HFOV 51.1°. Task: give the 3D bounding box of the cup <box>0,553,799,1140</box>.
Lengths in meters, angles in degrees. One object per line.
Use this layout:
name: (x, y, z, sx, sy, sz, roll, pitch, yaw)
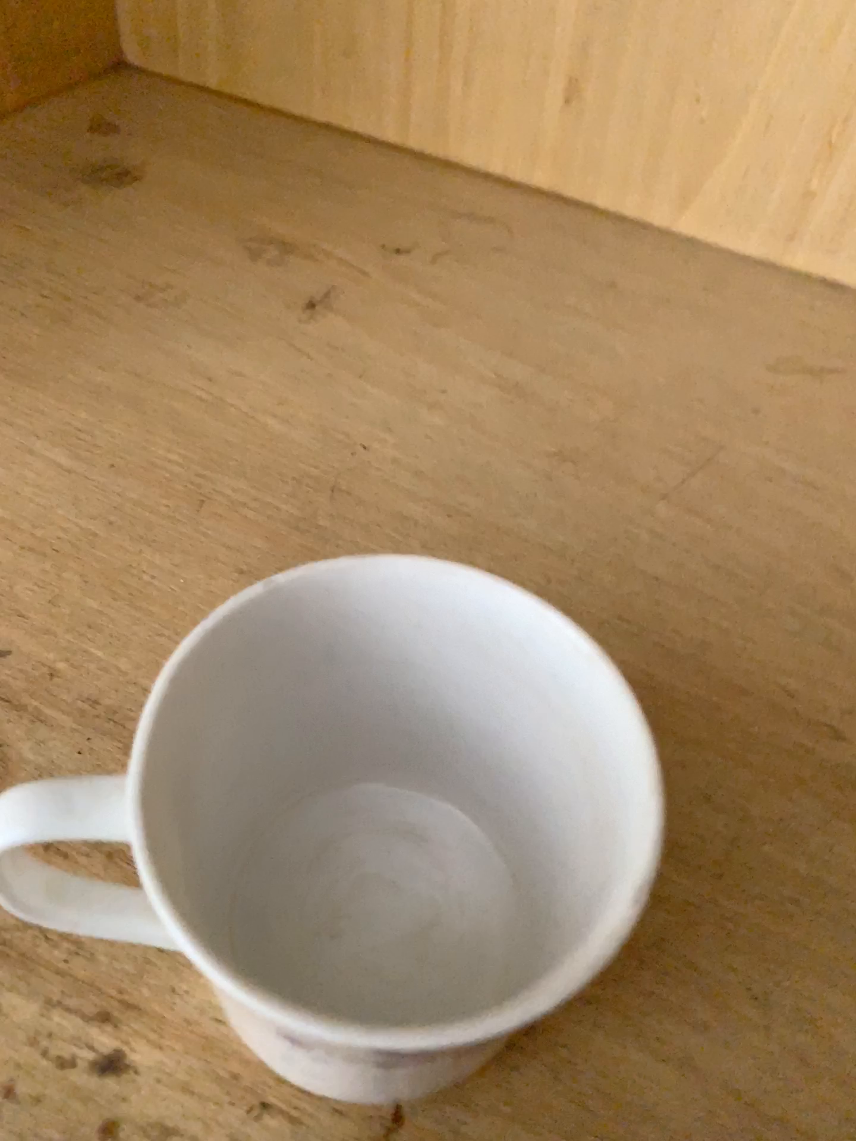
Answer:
cup: (-0.015, 0.047, 0.130, 0.090, 0.069, 0.071, 0, 48, -8)
